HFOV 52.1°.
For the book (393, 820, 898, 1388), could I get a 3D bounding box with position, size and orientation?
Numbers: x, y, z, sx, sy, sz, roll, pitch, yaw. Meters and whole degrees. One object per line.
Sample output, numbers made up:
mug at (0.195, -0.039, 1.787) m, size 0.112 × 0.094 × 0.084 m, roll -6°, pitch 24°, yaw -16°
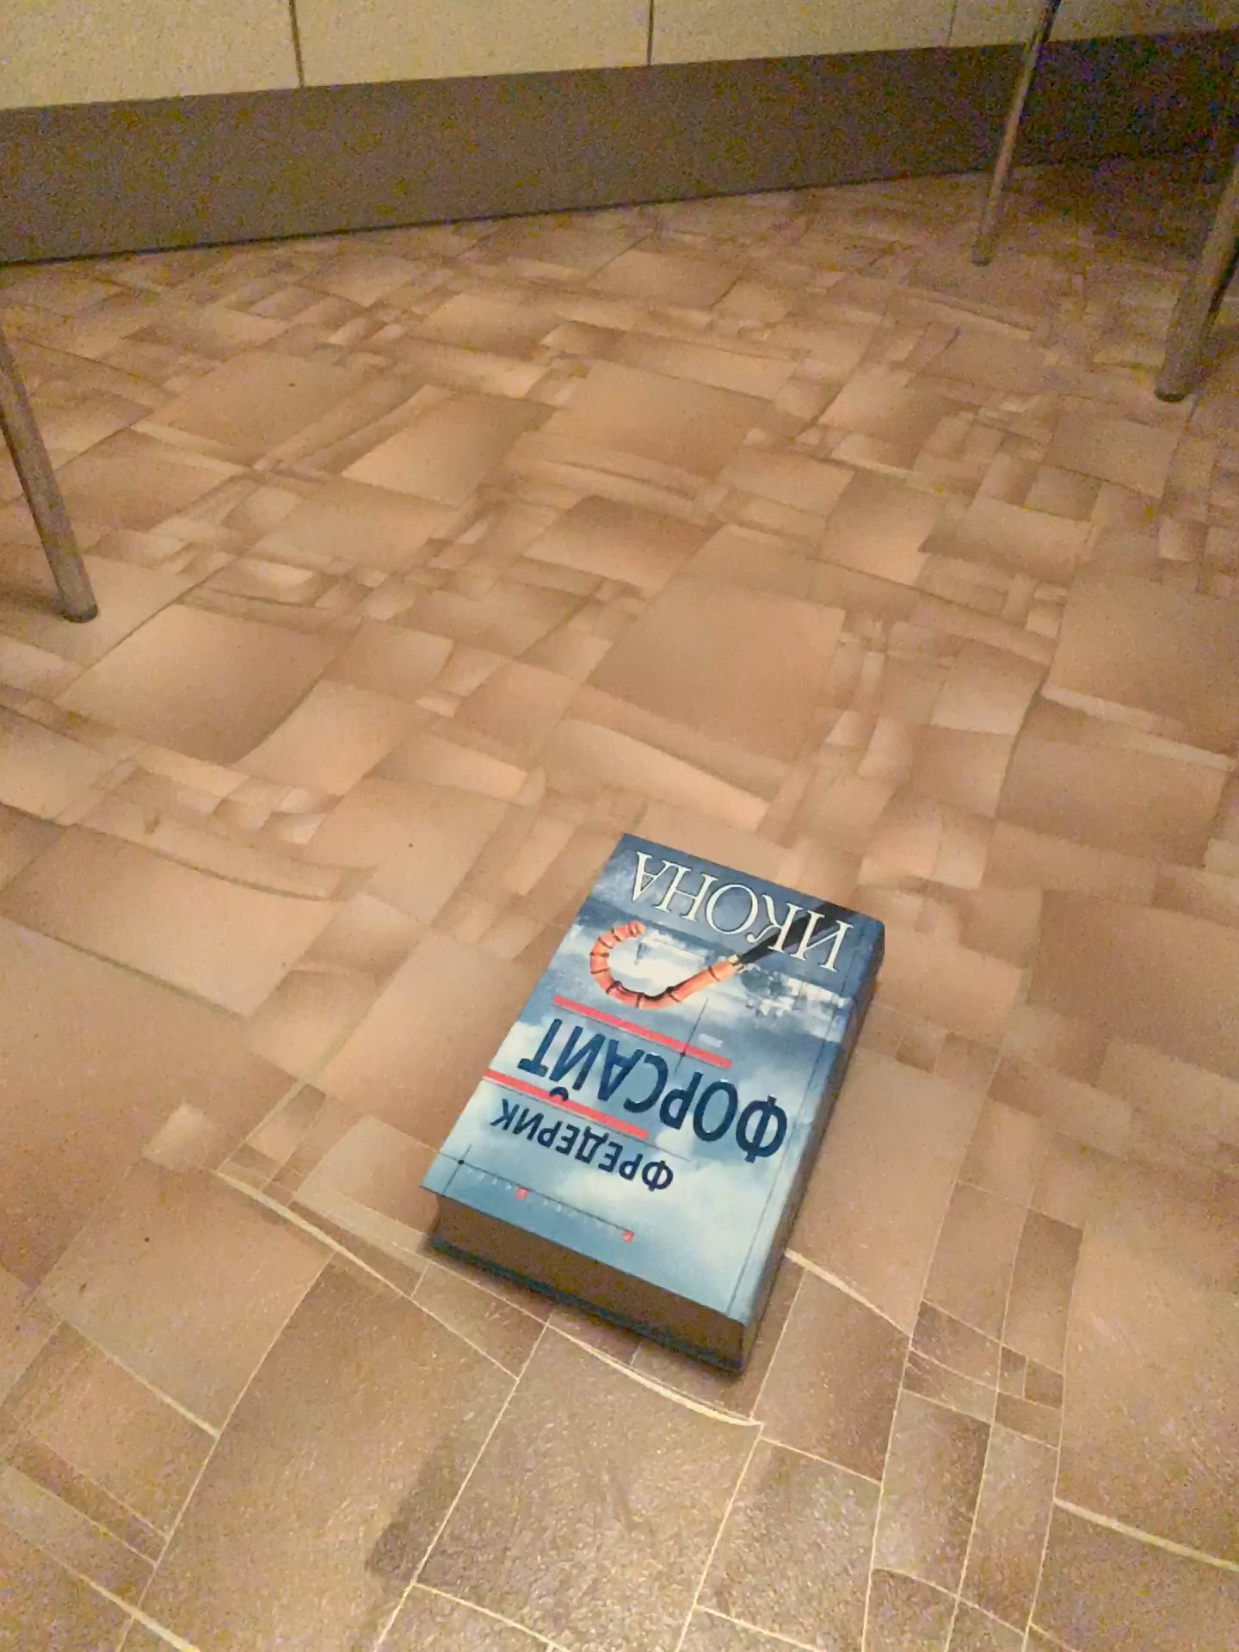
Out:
book at (0.021, 0.111, 0.583) m, size 0.152 × 0.056 × 0.225 m, roll 18°, pitch 46°, yaw 14°
